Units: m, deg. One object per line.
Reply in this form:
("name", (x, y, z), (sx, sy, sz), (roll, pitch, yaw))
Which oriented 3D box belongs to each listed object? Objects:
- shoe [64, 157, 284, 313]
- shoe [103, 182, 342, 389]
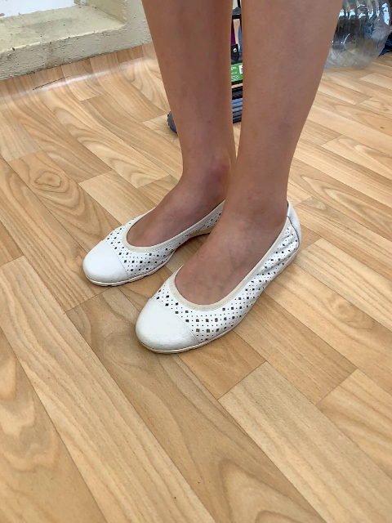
("shoe", (-0.020, -0.047, 0.537), (0.270, 0.070, 0.100), (-27, 49, -24))
("shoe", (0.041, 0.010, 0.449), (0.270, 0.070, 0.090), (-33, 52, -29))
